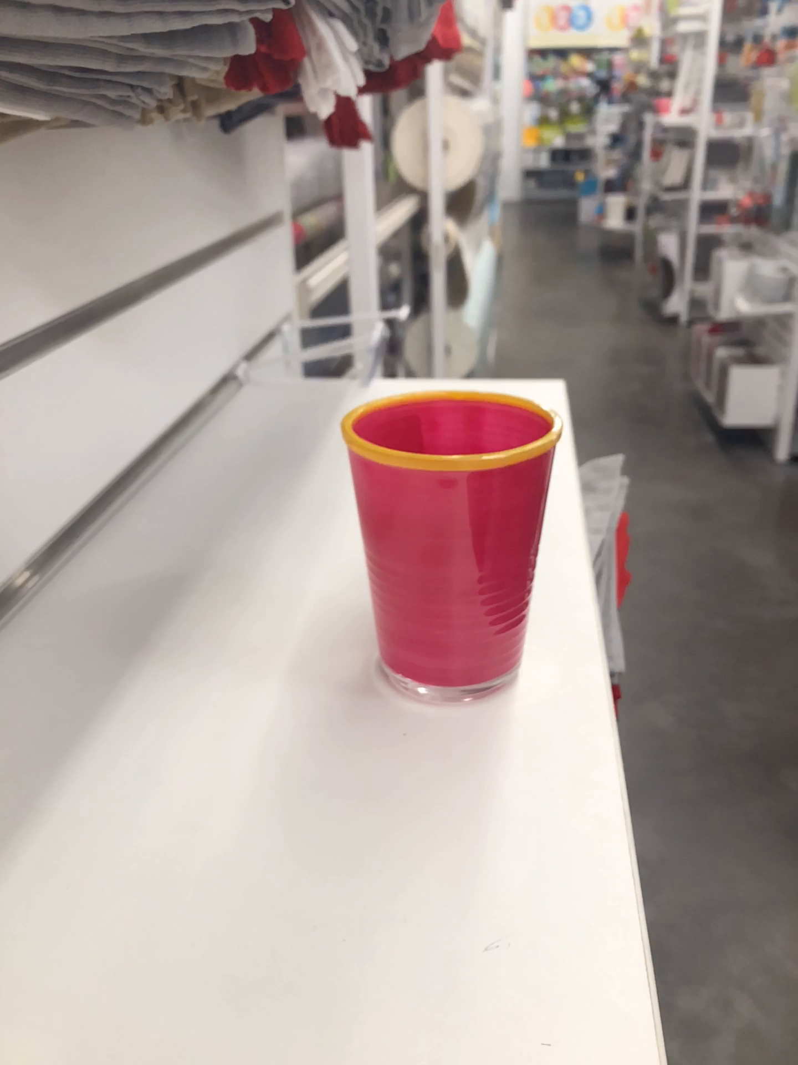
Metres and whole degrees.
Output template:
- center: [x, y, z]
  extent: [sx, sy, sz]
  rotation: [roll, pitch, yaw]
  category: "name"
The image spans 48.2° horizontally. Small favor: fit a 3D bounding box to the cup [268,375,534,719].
- center: [0.006, 0.001, 0.329]
  extent: [0.079, 0.094, 0.085]
  rotation: [-1, 25, 0]
  category: "cup"
